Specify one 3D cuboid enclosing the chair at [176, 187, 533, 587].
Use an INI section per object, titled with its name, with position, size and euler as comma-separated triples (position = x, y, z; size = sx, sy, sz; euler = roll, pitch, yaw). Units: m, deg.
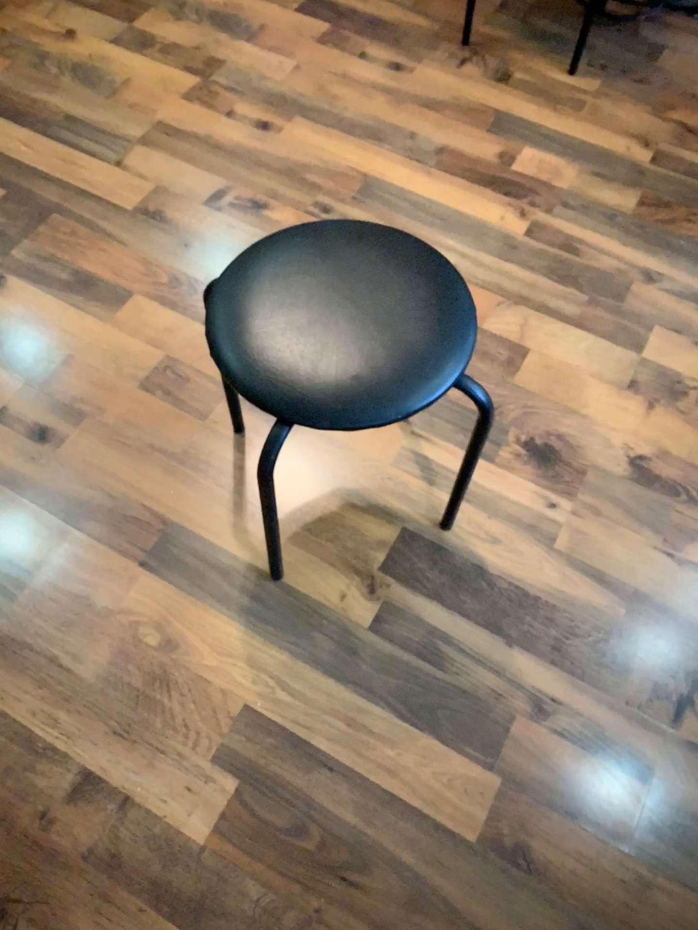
[chair]
position = -0.006, -0.092, 1.070
size = 0.350, 0.427, 0.332
euler = -16, 63, -9
